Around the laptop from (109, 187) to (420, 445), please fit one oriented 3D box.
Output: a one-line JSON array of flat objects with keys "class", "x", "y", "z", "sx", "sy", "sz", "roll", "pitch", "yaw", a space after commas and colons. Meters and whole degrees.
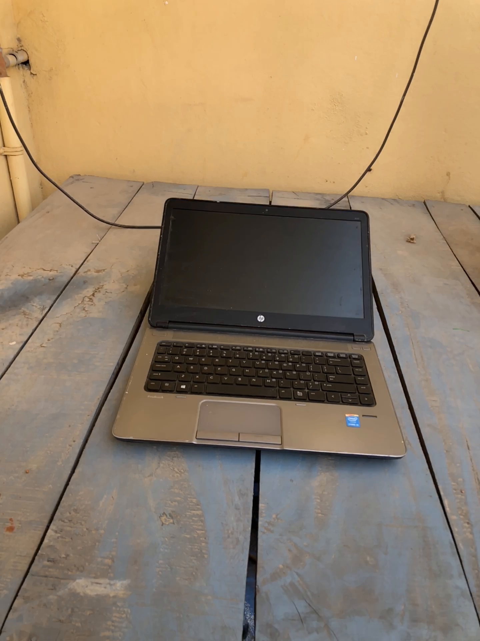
[{"class": "laptop", "x": 0.030, "y": -0.039, "z": 0.709, "sx": 0.306, "sy": 0.122, "sz": 0.391, "roll": 3, "pitch": 35, "yaw": 1}]
